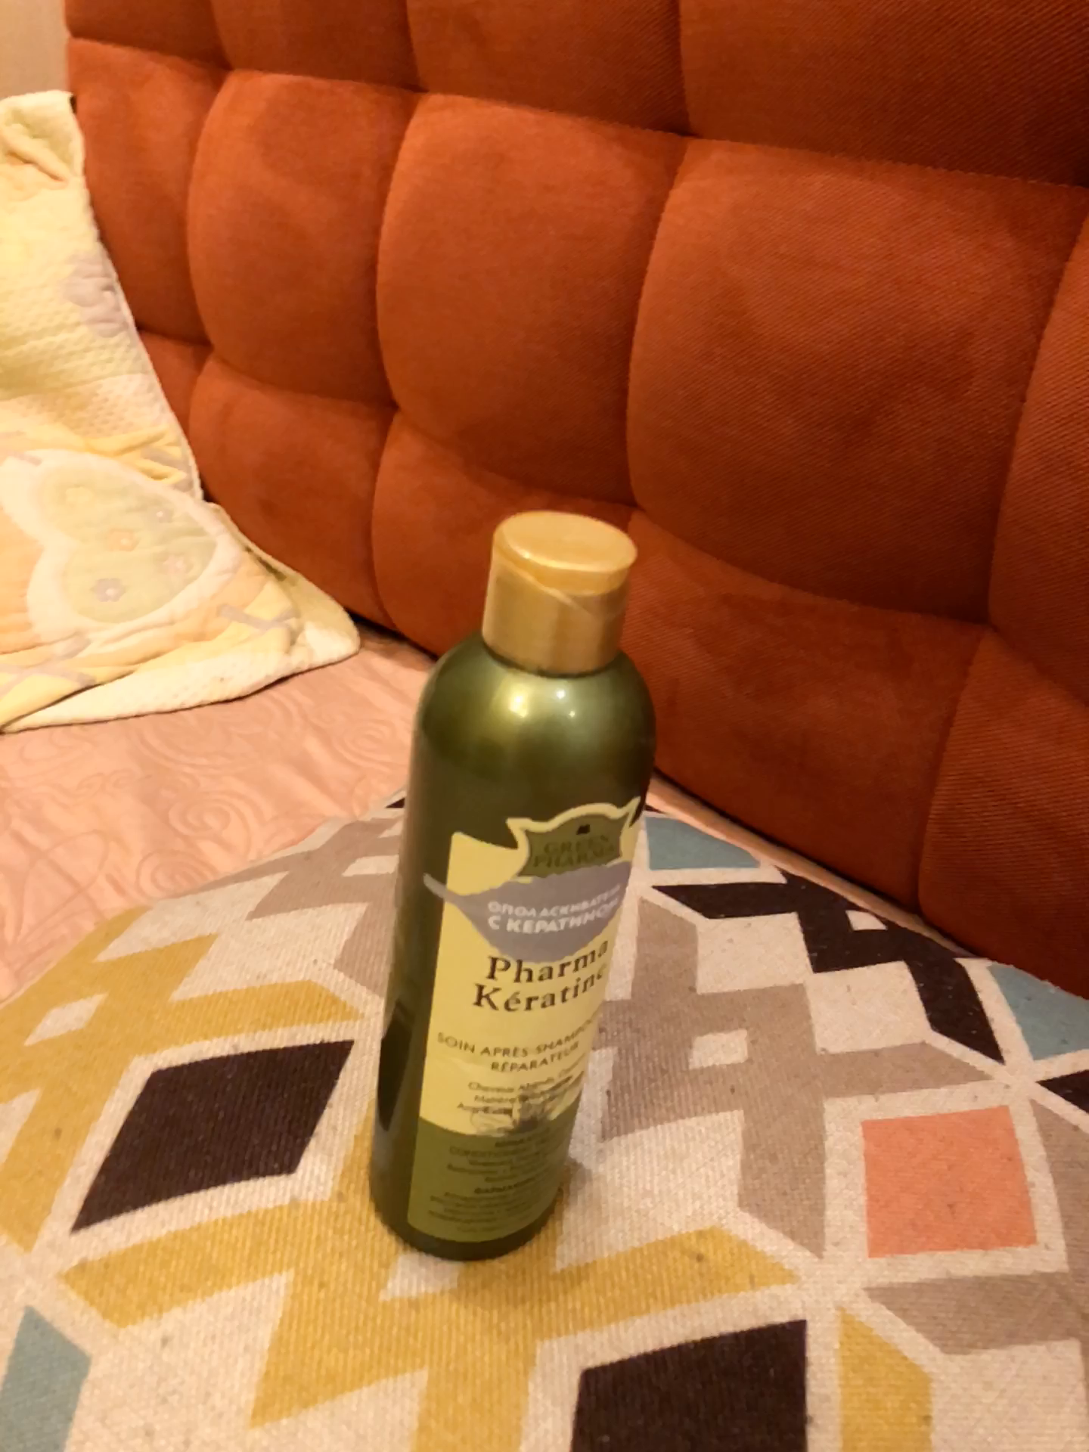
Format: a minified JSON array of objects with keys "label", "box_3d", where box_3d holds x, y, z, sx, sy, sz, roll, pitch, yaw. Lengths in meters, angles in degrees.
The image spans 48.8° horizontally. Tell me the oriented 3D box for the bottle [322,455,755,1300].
[{"label":"bottle","box_3d":[-0.012,0.037,0.276,0.060,0.179,0.070,-7,33,-23]}]
